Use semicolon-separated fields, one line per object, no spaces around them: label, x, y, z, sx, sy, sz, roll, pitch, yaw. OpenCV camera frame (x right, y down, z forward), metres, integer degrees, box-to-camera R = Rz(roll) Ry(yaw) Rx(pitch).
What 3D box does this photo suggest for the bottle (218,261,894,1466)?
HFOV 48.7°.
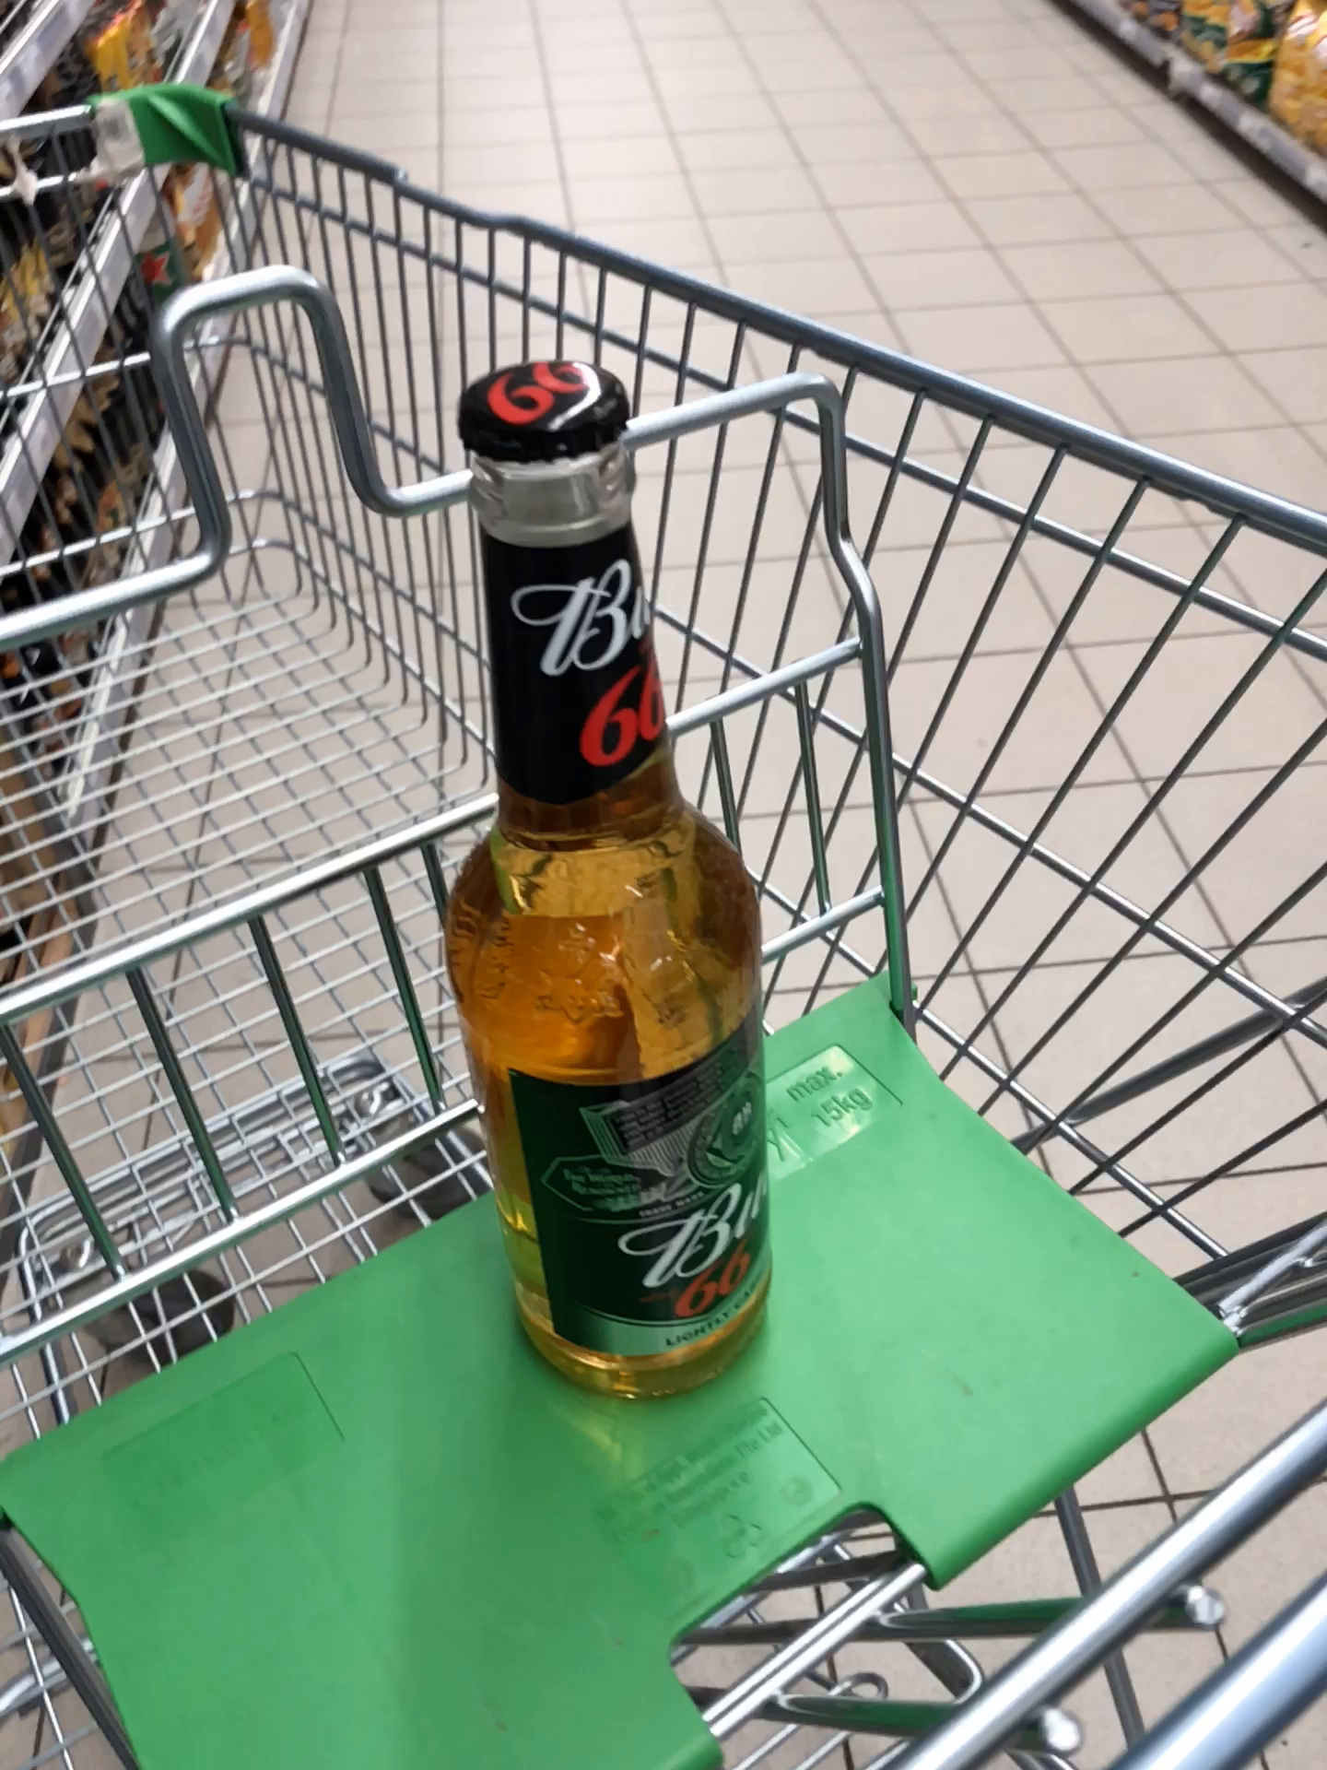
bottle;-0.005;0.011;0.304;0.070;0.239;0.080;23;49;30
